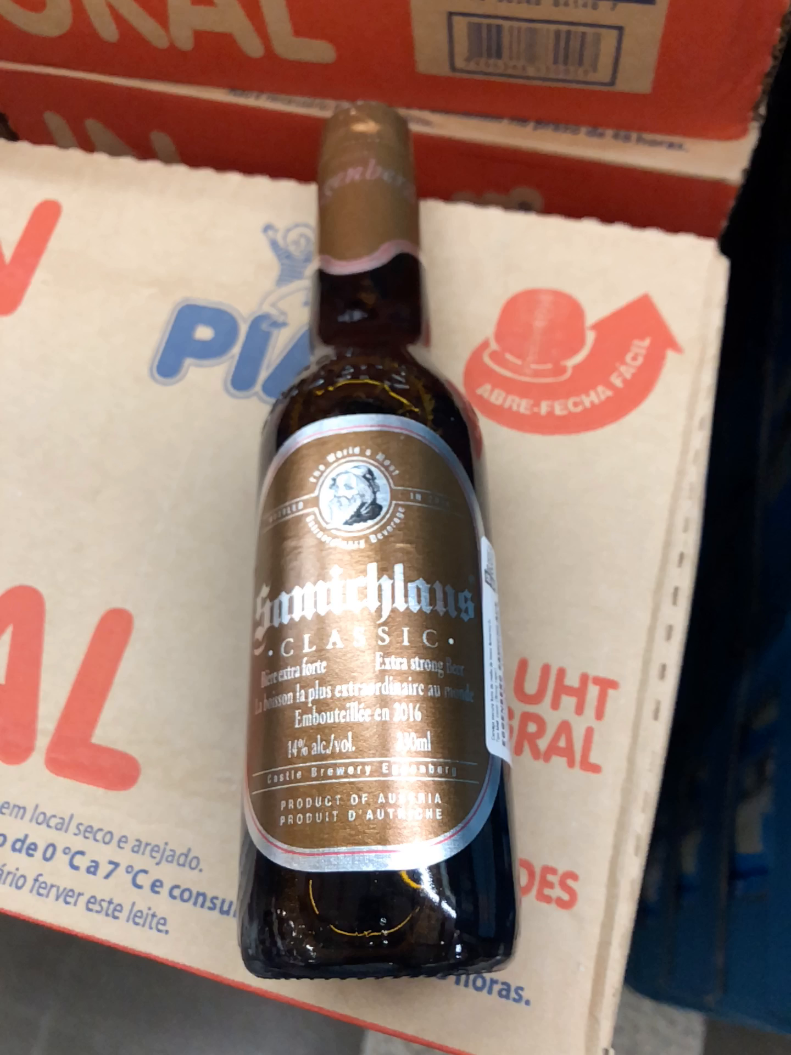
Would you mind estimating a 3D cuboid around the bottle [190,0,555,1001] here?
[{"bbox_3d":[-0.007,-0.028,0.220,0.060,0.050,0.251,-4,66,3],"label":"bottle"}]
